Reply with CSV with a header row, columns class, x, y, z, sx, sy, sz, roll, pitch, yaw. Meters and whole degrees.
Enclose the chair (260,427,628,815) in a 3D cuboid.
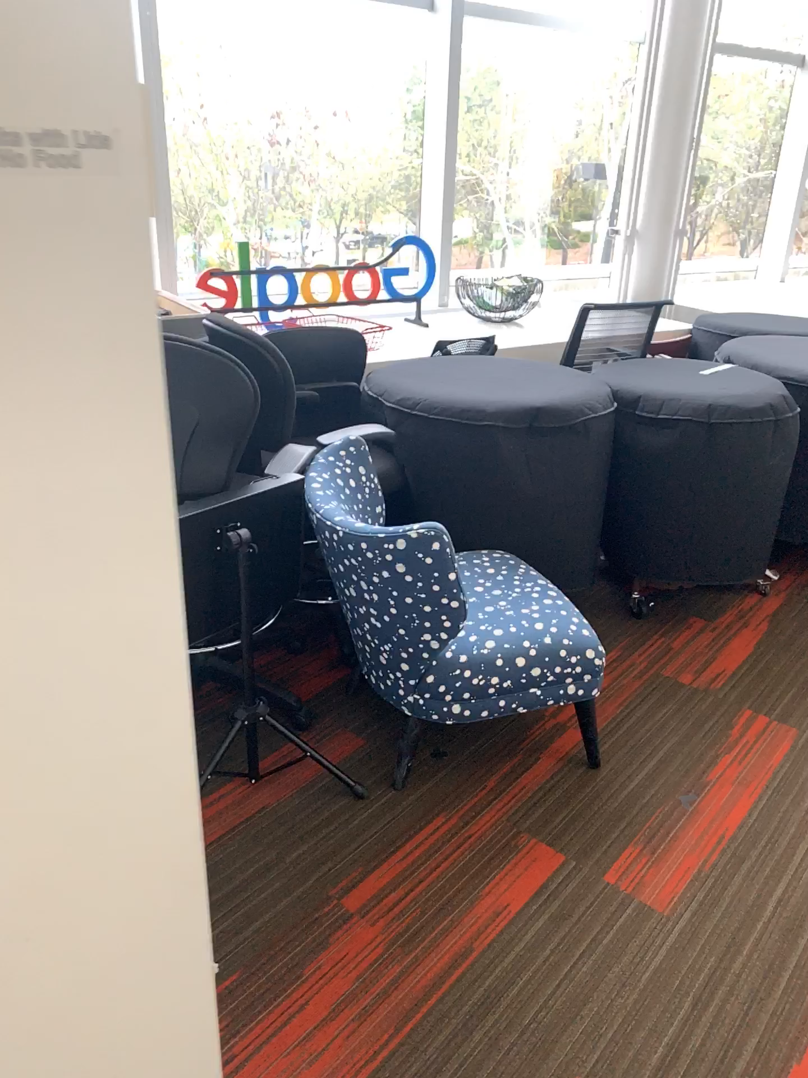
class,x,y,z,sx,sy,sz,roll,pitch,yaw
chair,0.025,0.151,2.485,0.770,0.686,1.005,-5,24,-15
